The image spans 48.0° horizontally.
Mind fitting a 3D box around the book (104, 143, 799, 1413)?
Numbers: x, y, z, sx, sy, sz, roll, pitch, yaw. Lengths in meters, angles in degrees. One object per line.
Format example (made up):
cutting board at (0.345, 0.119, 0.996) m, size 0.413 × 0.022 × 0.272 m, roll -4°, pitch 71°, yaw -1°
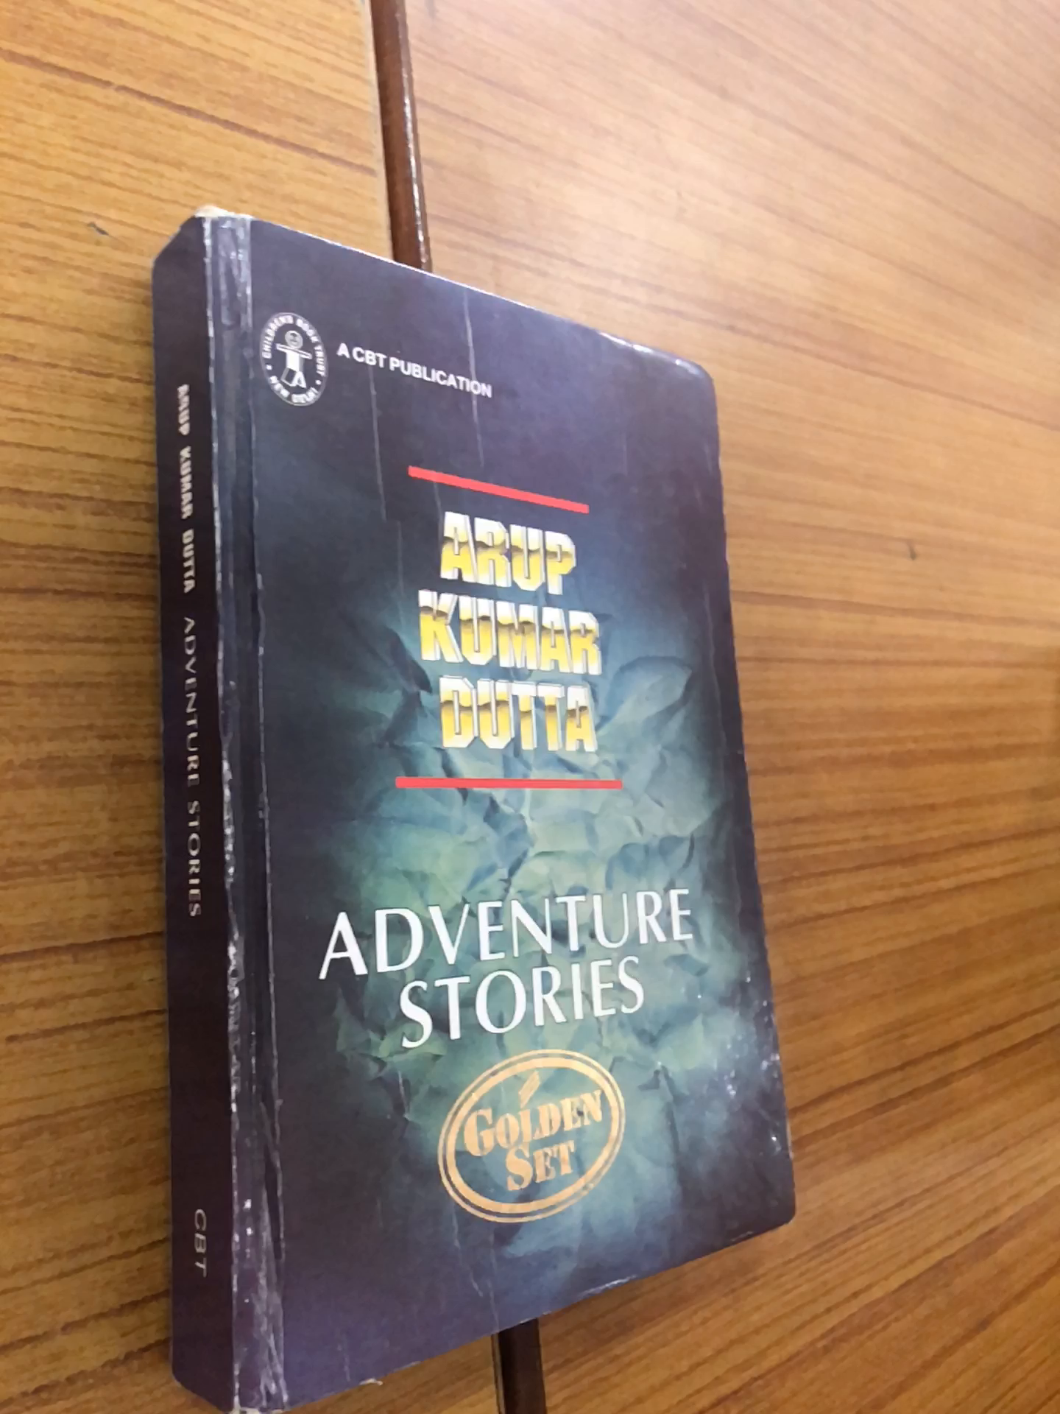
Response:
book at (-0.010, 0.016, 0.253) m, size 0.146 × 0.036 × 0.218 m, roll 3°, pitch 81°, yaw -41°
